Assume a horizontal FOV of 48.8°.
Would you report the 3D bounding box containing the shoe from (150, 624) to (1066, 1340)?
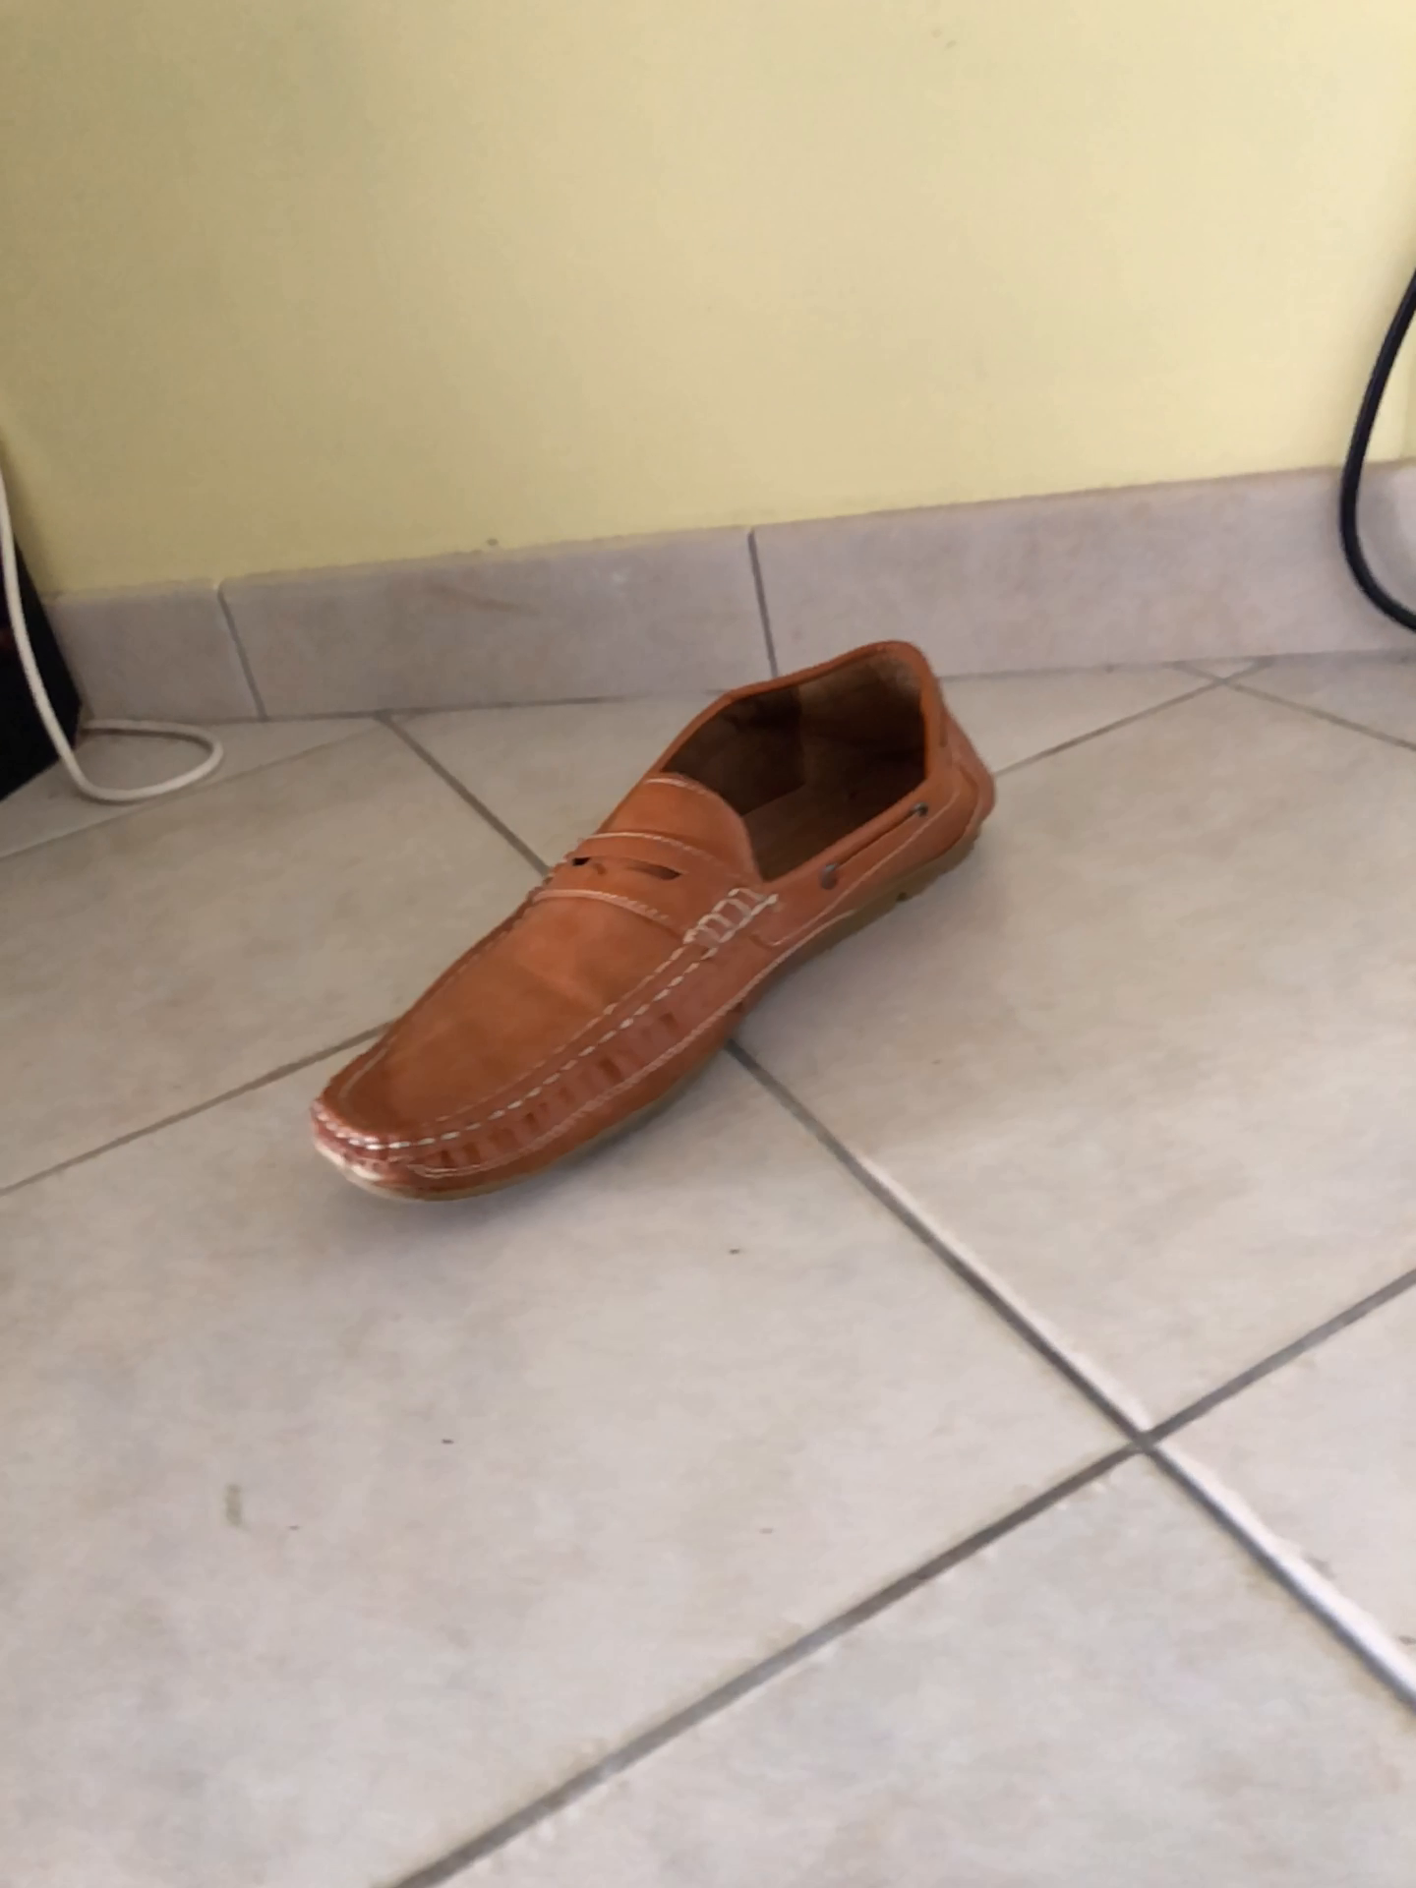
[{"bbox_3d":[-0.015,-0.012,0.506,0.130,0.070,0.281,16,41,39],"label":"shoe"}]
